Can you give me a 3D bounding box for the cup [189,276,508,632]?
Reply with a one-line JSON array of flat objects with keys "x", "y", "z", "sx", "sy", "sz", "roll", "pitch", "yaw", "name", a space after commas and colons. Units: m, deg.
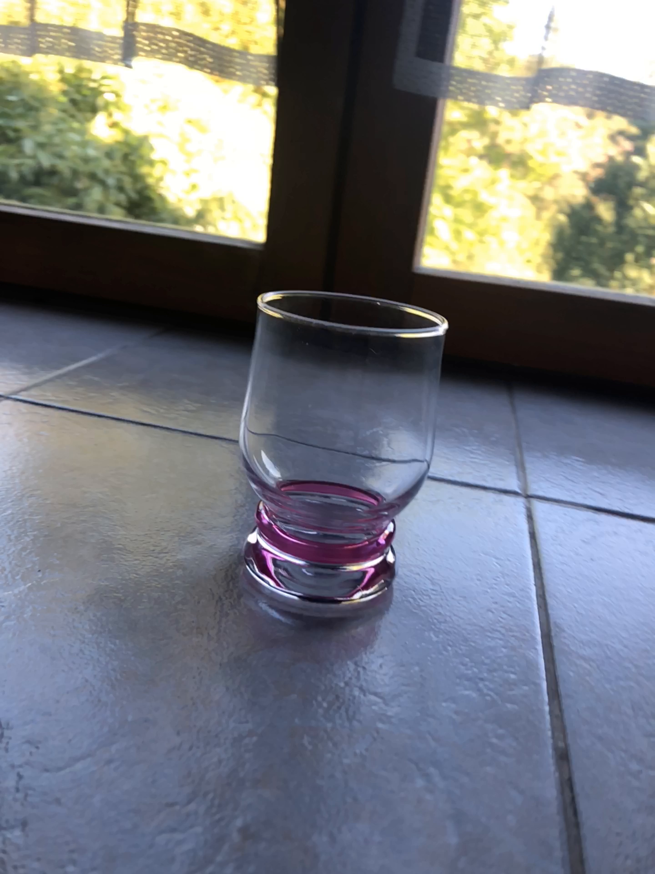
[{"x": 0.001, "y": 0.001, "z": 0.272, "sx": 0.079, "sy": 0.102, "sz": 0.079, "roll": 7, "pitch": 20, "yaw": -3, "name": "cup"}]
